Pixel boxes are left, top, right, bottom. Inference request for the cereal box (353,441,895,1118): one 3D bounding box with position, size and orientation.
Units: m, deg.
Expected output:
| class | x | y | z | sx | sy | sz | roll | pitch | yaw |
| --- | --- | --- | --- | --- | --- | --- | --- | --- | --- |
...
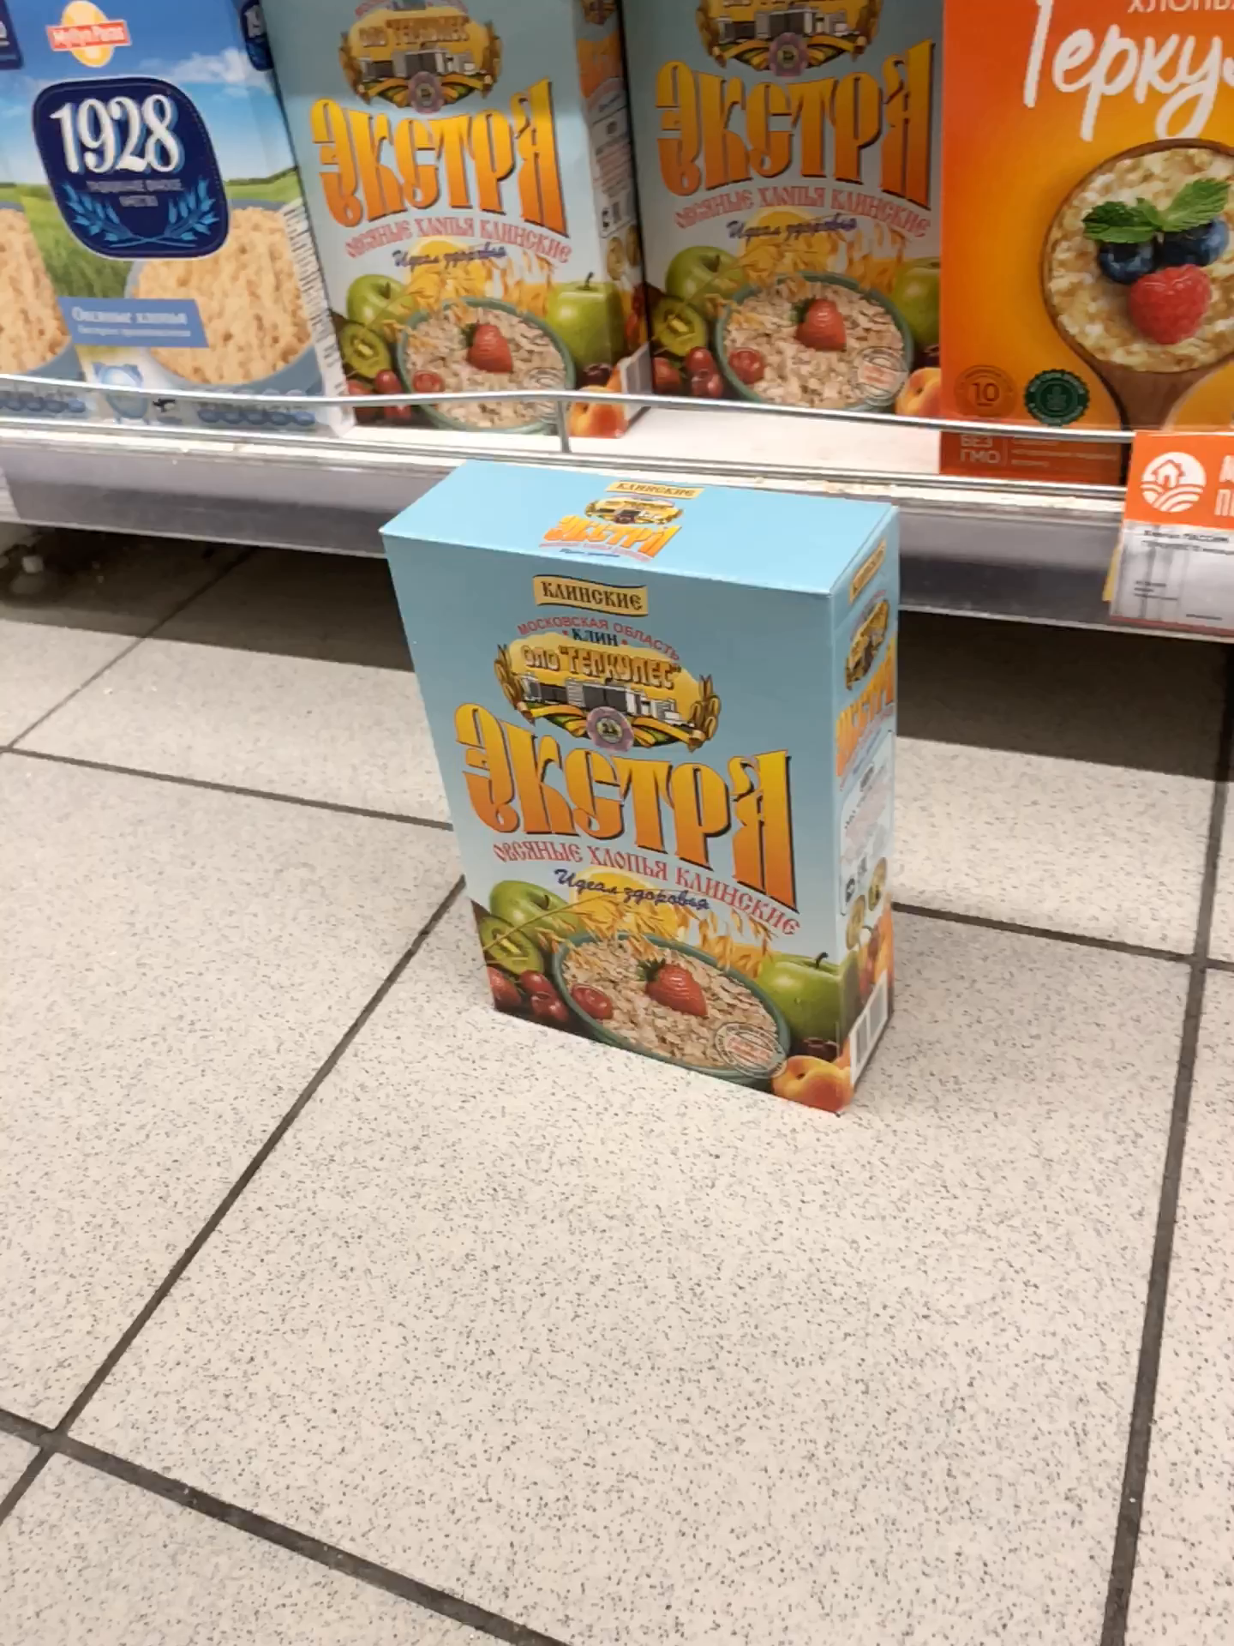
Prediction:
| class | x | y | z | sx | sy | sz | roll | pitch | yaw |
| --- | --- | --- | --- | --- | --- | --- | --- | --- | --- |
| cereal box | 0.012 | -0.012 | 0.465 | 0.150 | 0.209 | 0.060 | 13 | 42 | 26 |
